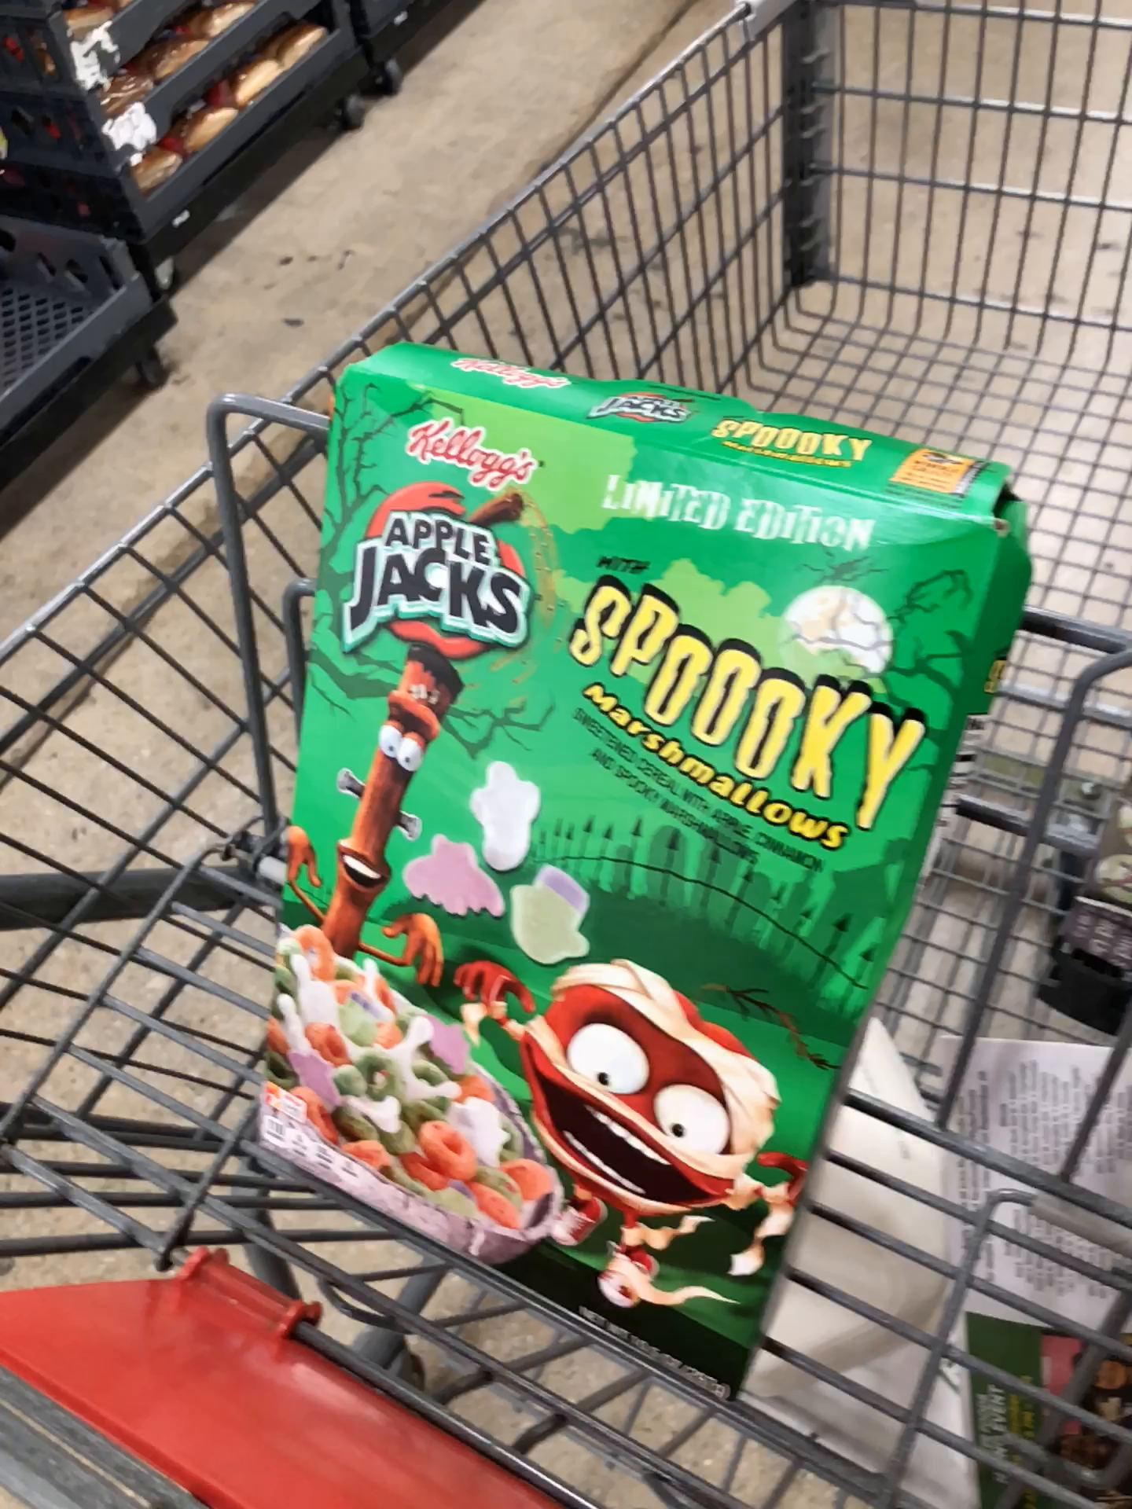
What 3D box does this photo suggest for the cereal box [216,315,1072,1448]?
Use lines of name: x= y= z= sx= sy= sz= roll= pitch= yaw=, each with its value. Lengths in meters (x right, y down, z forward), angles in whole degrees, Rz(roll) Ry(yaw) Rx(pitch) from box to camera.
cereal box: x=0.001 y=0.032 z=0.376 sx=0.200 sy=0.280 sz=0.070 roll=20 pitch=25 yaw=23
